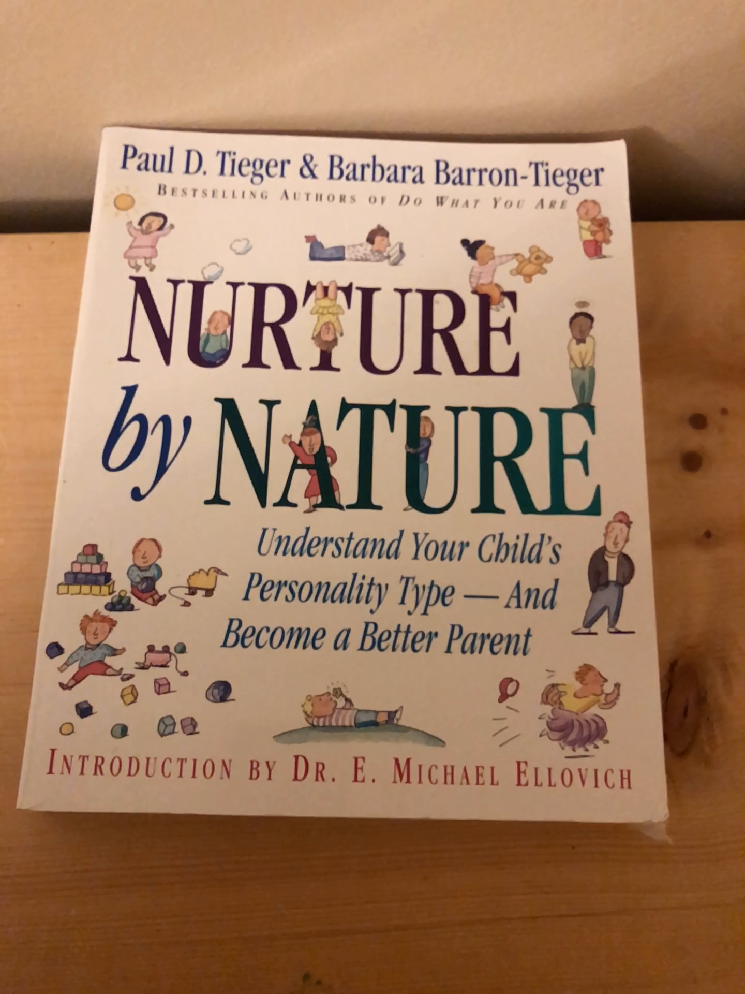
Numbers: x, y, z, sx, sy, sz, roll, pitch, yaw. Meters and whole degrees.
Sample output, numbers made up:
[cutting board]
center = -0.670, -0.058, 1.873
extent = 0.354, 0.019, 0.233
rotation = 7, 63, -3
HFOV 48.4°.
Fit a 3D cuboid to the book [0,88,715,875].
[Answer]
[book]
center = -0.002, -0.015, 0.280
extent = 0.200, 0.040, 0.250
rotation = 2, 74, -2
